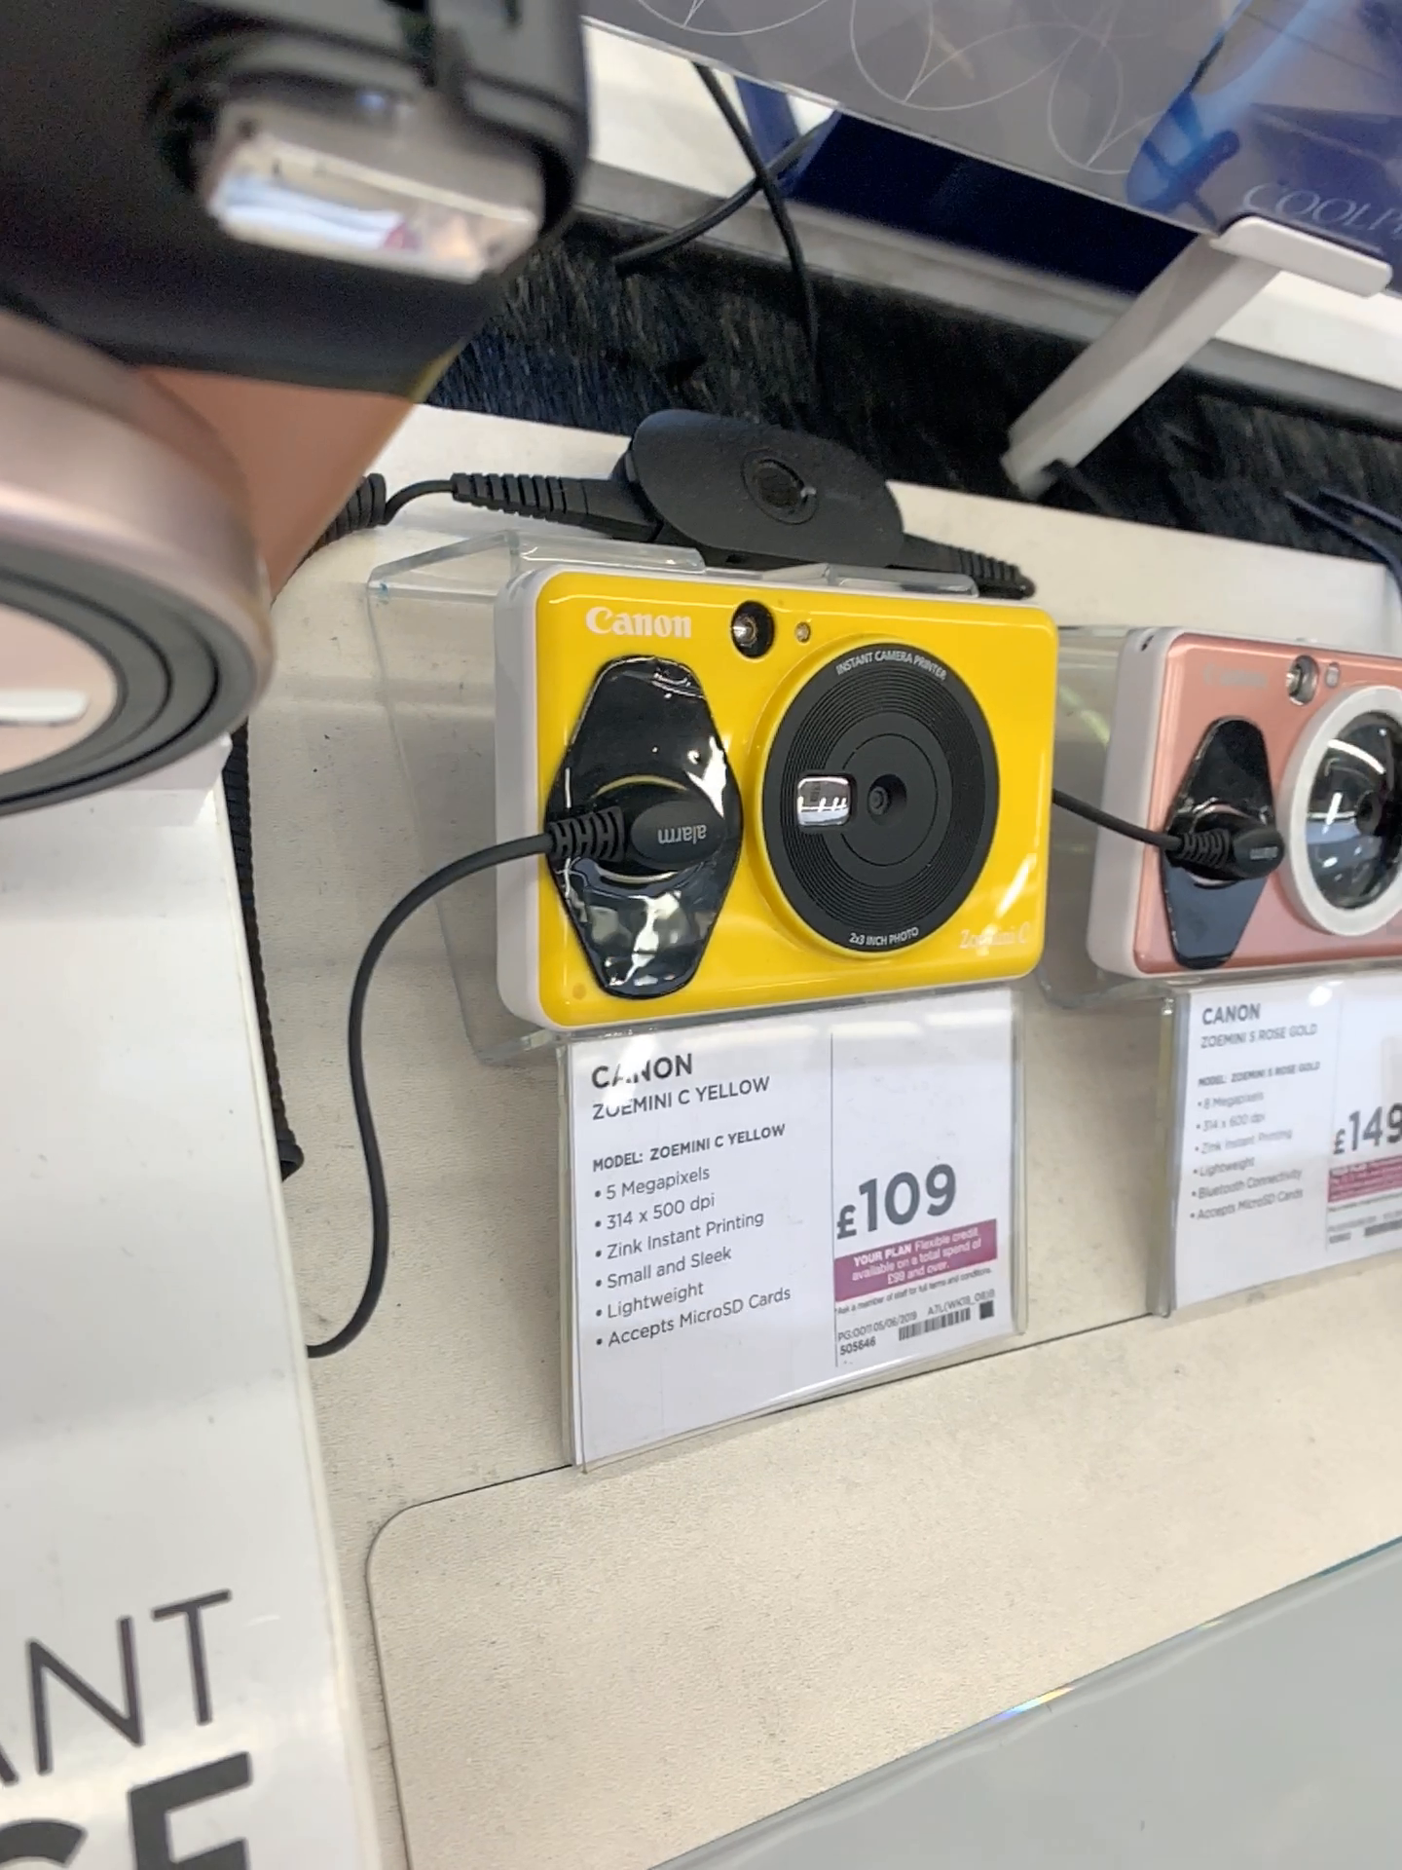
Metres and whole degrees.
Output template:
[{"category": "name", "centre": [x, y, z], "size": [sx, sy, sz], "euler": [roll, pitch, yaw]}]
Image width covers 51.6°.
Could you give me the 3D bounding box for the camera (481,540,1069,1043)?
[{"category": "camera", "centre": [0.018, -0.027, 0.273], "size": [0.121, 0.020, 0.080], "euler": [-5, 100, -34]}]
